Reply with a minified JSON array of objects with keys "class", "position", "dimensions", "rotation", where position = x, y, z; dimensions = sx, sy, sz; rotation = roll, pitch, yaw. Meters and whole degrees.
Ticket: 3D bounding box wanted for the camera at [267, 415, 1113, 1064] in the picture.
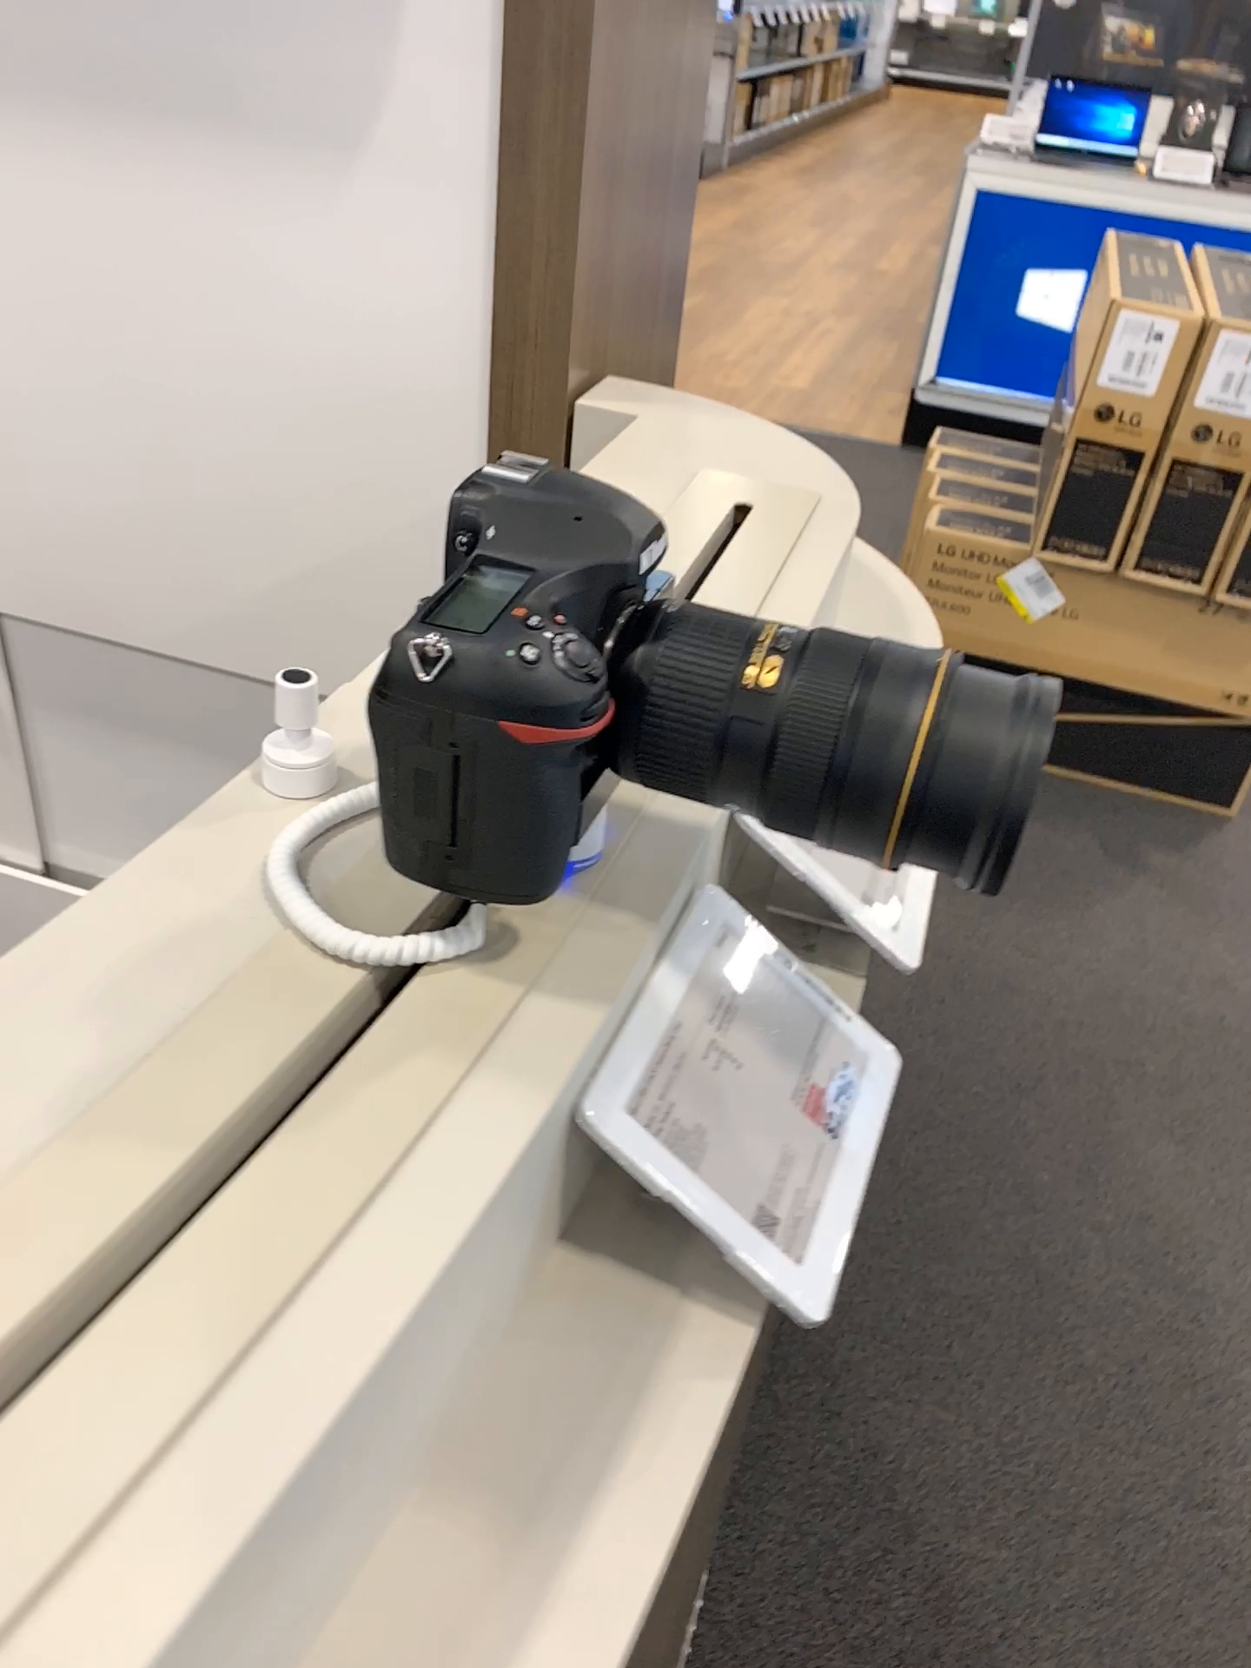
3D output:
[{"class":"camera","position":[0.028,-0.047,0.445],"dimensions":[0.240,0.109,0.161],"rotation":[15,35,11]}]
